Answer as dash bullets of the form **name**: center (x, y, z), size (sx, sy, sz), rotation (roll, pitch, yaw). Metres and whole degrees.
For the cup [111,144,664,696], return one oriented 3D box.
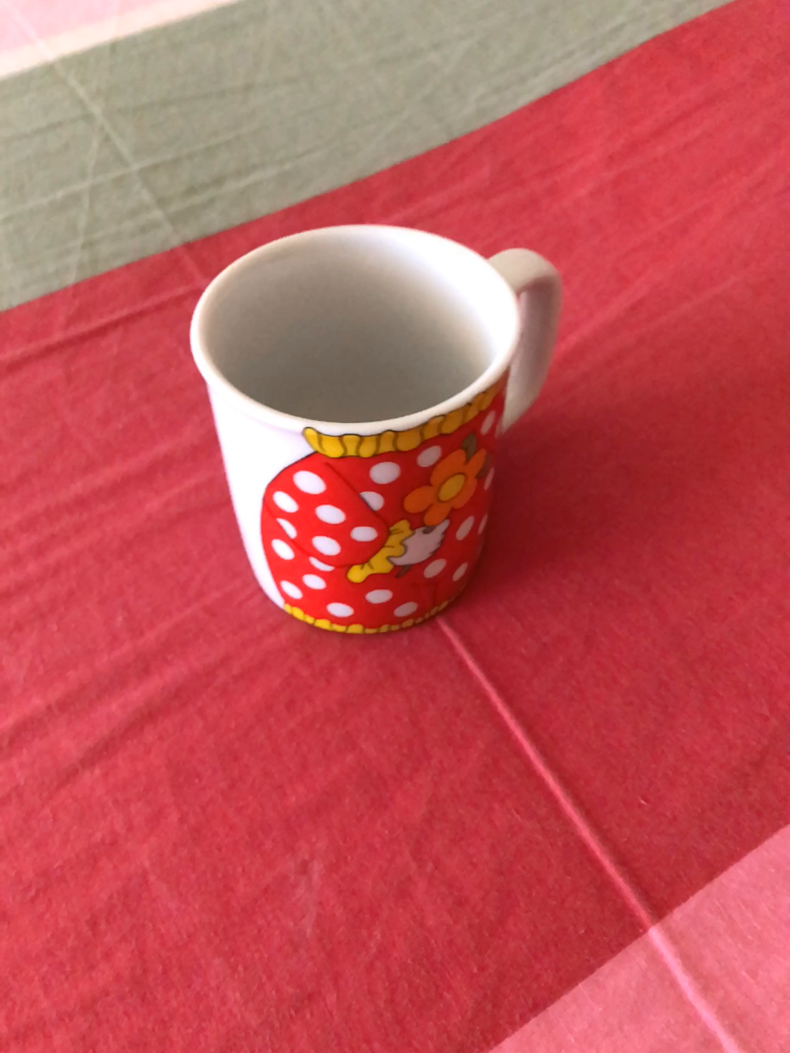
- **cup**: center (0.000, -0.036, 0.264), size (0.089, 0.086, 0.116), rotation (36, 59, 25)
